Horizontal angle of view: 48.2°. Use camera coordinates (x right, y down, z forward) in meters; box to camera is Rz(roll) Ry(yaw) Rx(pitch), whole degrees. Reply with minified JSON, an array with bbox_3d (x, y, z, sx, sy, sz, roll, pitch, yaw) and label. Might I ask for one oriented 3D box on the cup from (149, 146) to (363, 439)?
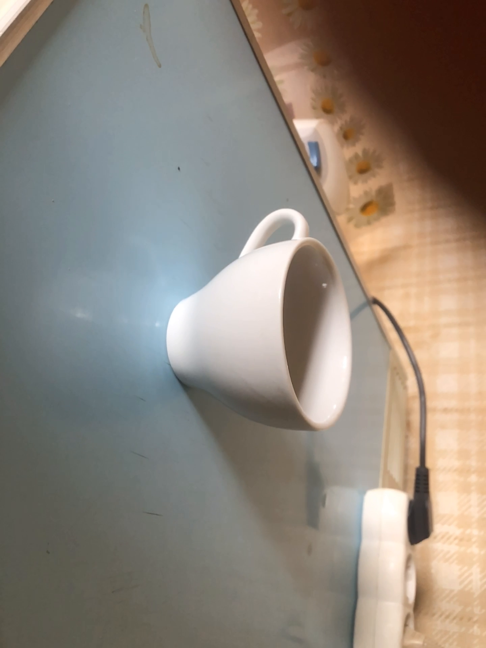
[{"bbox_3d":[0.014,-0.005,0.254,0.097,0.057,0.106,17,71,-60],"label":"cup"}]
